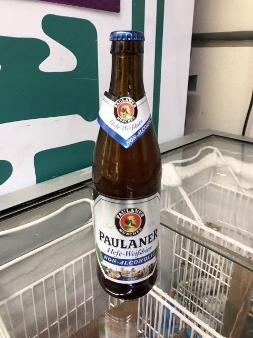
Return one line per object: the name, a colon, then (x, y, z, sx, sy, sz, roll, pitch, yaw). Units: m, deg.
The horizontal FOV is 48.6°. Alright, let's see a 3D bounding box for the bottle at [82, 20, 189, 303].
bottle: (0.004, 0.004, 0.253, 0.070, 0.238, 0.060, -1, 21, -3)
